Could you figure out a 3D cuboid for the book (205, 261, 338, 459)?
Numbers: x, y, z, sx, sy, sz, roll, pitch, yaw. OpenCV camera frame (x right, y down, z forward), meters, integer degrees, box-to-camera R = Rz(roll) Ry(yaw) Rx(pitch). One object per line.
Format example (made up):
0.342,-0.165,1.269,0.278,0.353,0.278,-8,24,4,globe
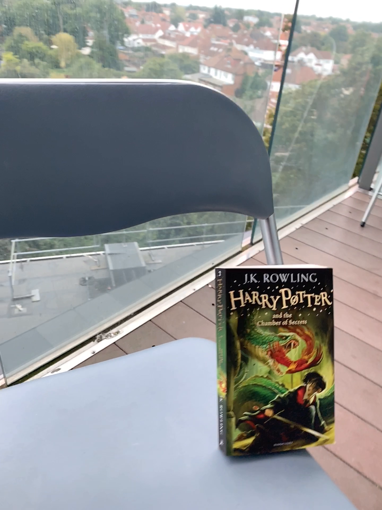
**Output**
0.091,0.111,0.442,0.140,0.200,0.040,-2,2,-12,book
